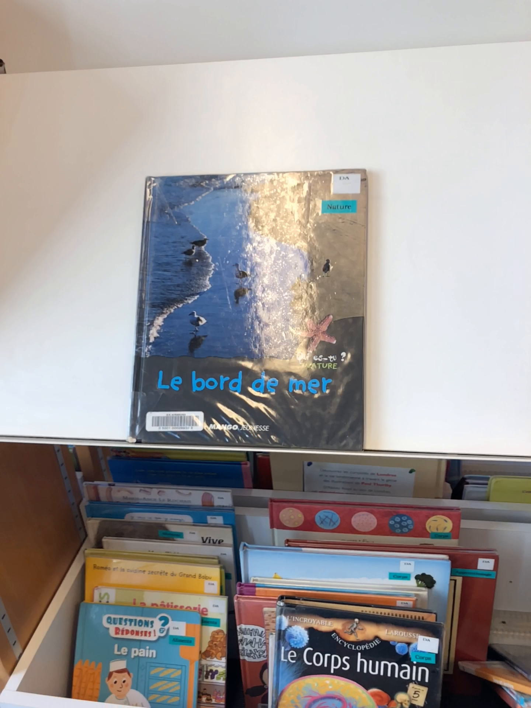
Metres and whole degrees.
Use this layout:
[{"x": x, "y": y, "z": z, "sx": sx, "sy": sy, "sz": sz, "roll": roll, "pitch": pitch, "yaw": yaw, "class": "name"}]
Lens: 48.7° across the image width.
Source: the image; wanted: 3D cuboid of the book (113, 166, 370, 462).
[{"x": -0.018, "y": -0.037, "z": 0.501, "sx": 0.208, "sy": 0.245, "sz": 0.020, "roll": 1, "pitch": -9, "yaw": 9, "class": "book"}]
